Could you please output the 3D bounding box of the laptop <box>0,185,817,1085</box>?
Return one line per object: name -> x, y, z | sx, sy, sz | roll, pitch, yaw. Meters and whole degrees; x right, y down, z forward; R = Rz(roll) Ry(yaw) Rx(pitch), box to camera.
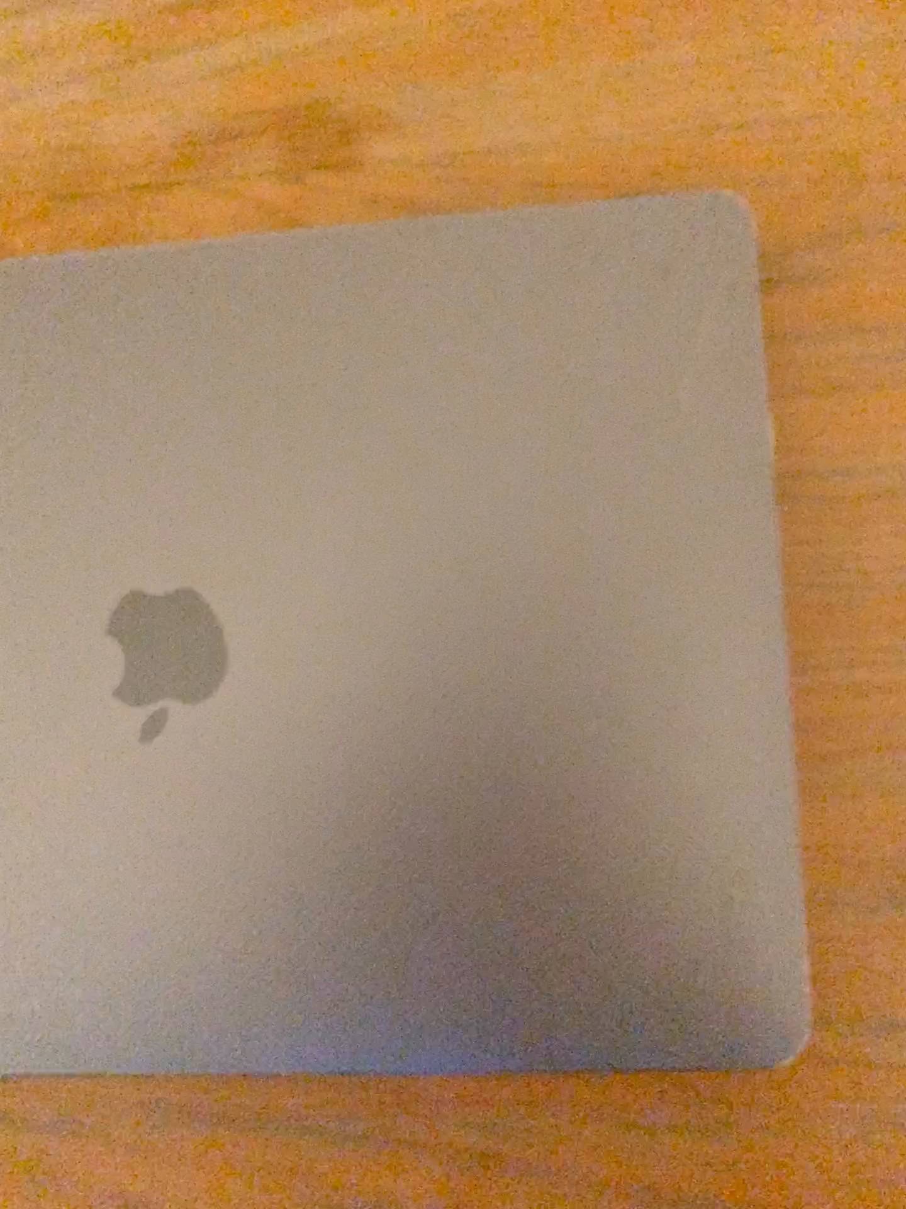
laptop -> -0.068, 0.011, 0.245 | 0.292, 0.005, 0.210 | -3, 87, 8
